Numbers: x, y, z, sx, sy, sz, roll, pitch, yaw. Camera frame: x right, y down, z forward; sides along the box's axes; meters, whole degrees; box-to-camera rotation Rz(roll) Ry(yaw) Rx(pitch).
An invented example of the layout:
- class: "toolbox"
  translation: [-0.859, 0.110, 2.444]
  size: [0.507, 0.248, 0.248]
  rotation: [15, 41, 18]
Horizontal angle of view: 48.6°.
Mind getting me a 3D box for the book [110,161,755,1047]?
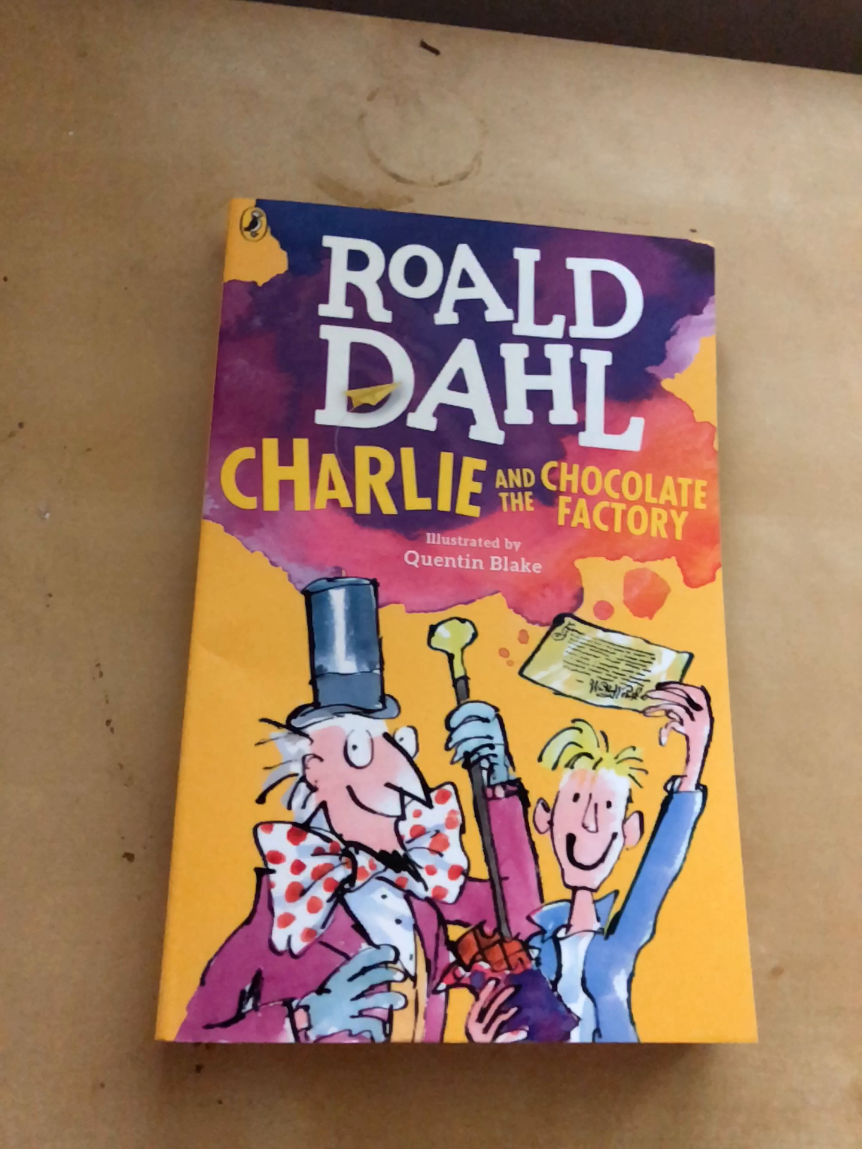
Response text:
- class: "book"
  translation: [0.002, 0.003, 0.240]
  size: [0.134, 0.040, 0.201]
  rotation: [3, 76, -8]
